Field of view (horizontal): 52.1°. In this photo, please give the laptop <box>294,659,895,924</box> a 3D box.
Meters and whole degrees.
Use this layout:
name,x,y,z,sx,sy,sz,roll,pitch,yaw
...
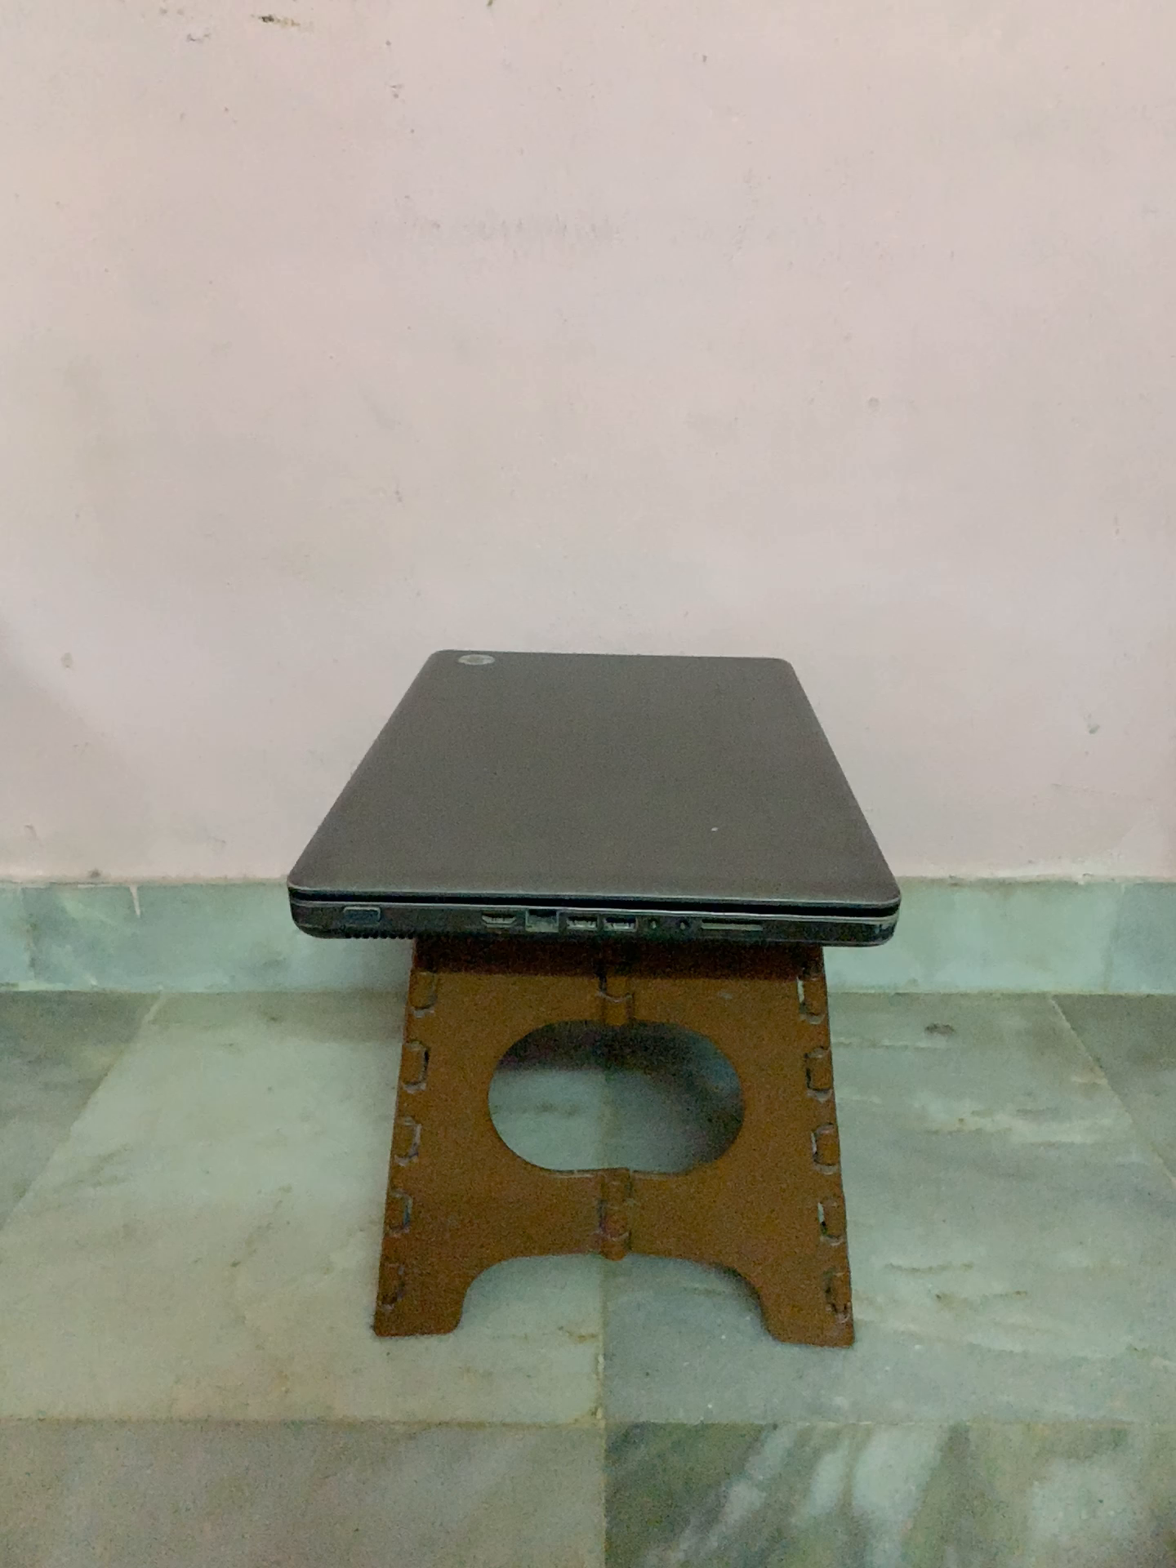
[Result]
name,x,y,z,sx,sy,sz,roll,pitch,yaw
laptop,0.009,-0.016,0.662,0.242,0.003,0.380,2,21,2
